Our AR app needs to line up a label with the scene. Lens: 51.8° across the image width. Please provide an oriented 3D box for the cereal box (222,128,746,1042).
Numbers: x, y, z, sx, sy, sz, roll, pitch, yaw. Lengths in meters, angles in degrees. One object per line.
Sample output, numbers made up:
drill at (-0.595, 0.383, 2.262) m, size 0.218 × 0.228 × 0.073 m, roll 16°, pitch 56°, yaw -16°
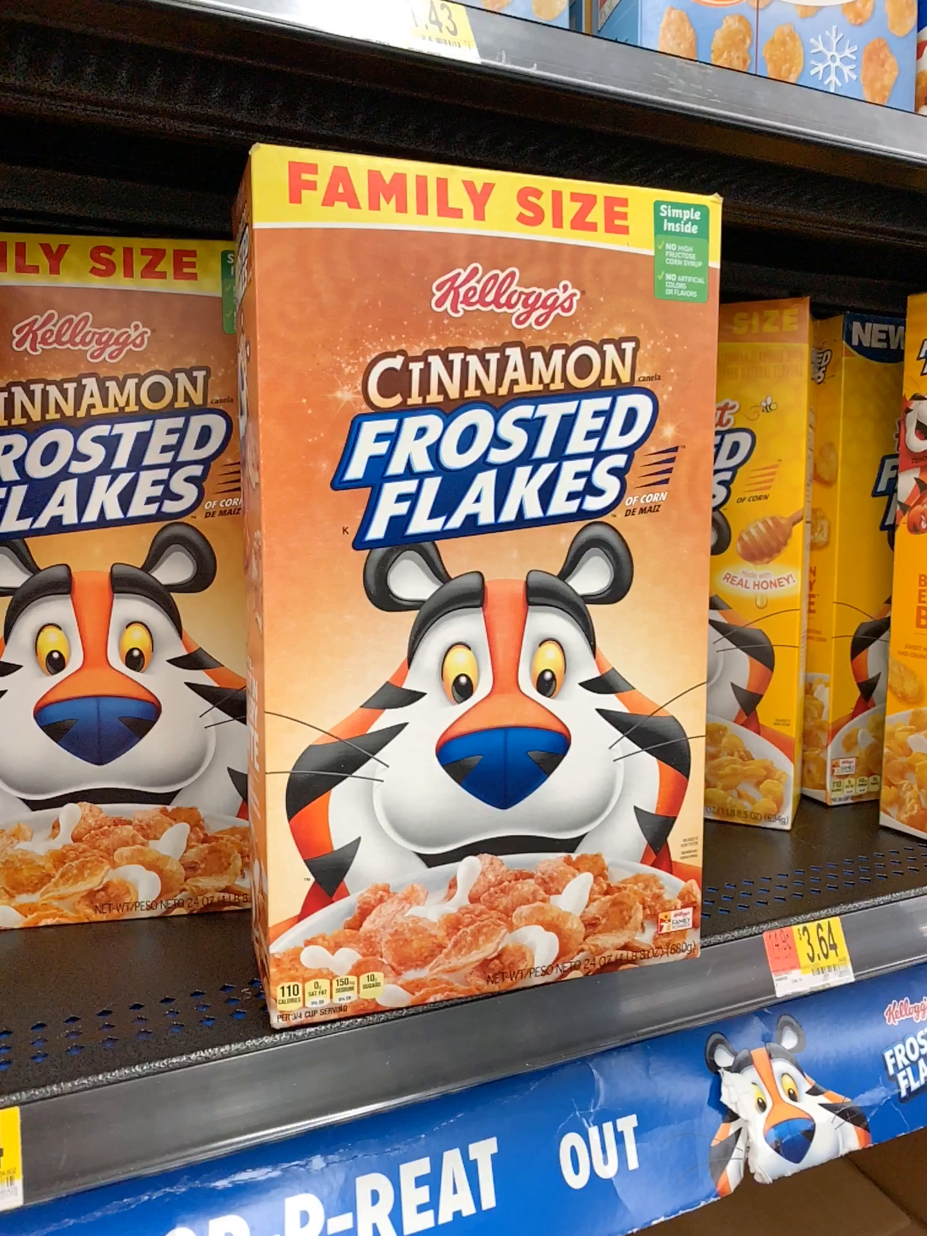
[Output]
cereal box at (0.007, -0.011, 0.421) m, size 0.210 × 0.339 × 0.070 m, roll -2°, pitch 6°, yaw -19°
